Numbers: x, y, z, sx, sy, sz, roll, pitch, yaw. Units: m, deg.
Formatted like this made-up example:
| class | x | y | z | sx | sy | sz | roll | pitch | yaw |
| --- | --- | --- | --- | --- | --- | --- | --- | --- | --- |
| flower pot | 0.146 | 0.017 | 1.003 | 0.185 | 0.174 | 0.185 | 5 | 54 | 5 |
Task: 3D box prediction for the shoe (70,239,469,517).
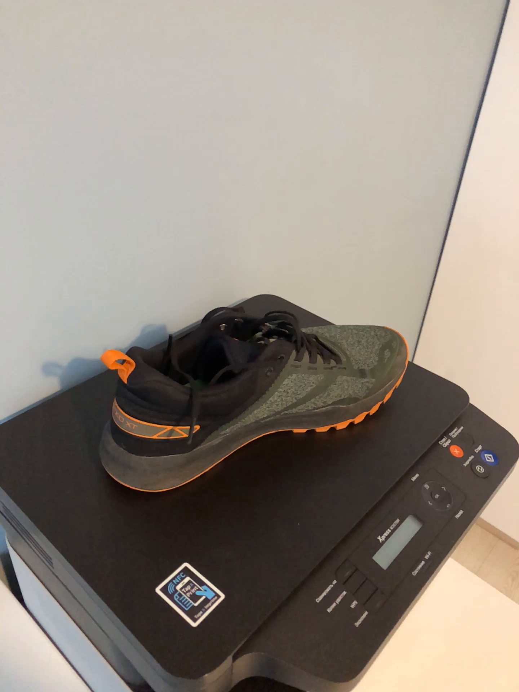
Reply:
| class | x | y | z | sx | sy | sz | roll | pitch | yaw |
| --- | --- | --- | --- | --- | --- | --- | --- | --- | --- |
| shoe | 0.014 | 0.009 | 0.500 | 0.311 | 0.119 | 0.121 | -16 | 39 | -26 |
